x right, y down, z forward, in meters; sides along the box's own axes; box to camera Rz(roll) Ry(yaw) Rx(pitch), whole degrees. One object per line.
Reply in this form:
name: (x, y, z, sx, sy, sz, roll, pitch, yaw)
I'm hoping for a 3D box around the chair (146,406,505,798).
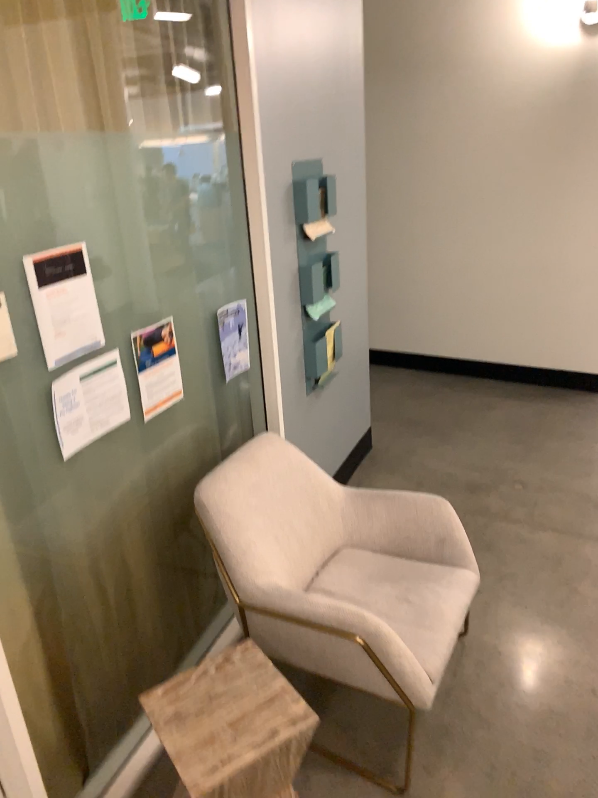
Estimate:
chair: (0.150, 0.645, 2.047, 0.872, 0.926, 0.782, 7, 24, 25)
